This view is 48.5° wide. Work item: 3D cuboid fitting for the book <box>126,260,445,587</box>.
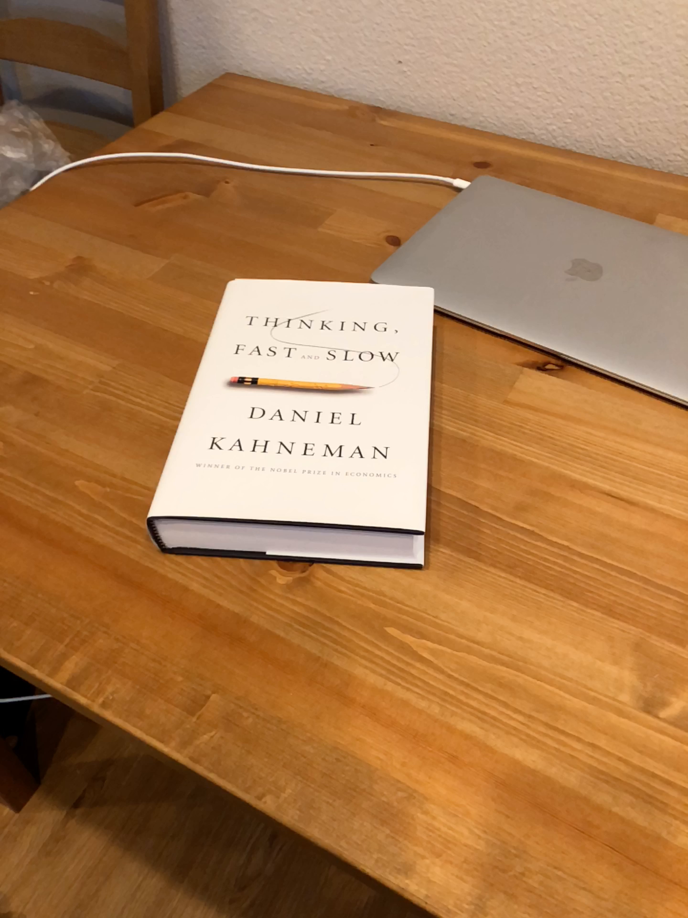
[{"bbox_3d":[-0.023,-0.040,0.536,0.180,0.060,0.251,4,47,4],"label":"book"}]
